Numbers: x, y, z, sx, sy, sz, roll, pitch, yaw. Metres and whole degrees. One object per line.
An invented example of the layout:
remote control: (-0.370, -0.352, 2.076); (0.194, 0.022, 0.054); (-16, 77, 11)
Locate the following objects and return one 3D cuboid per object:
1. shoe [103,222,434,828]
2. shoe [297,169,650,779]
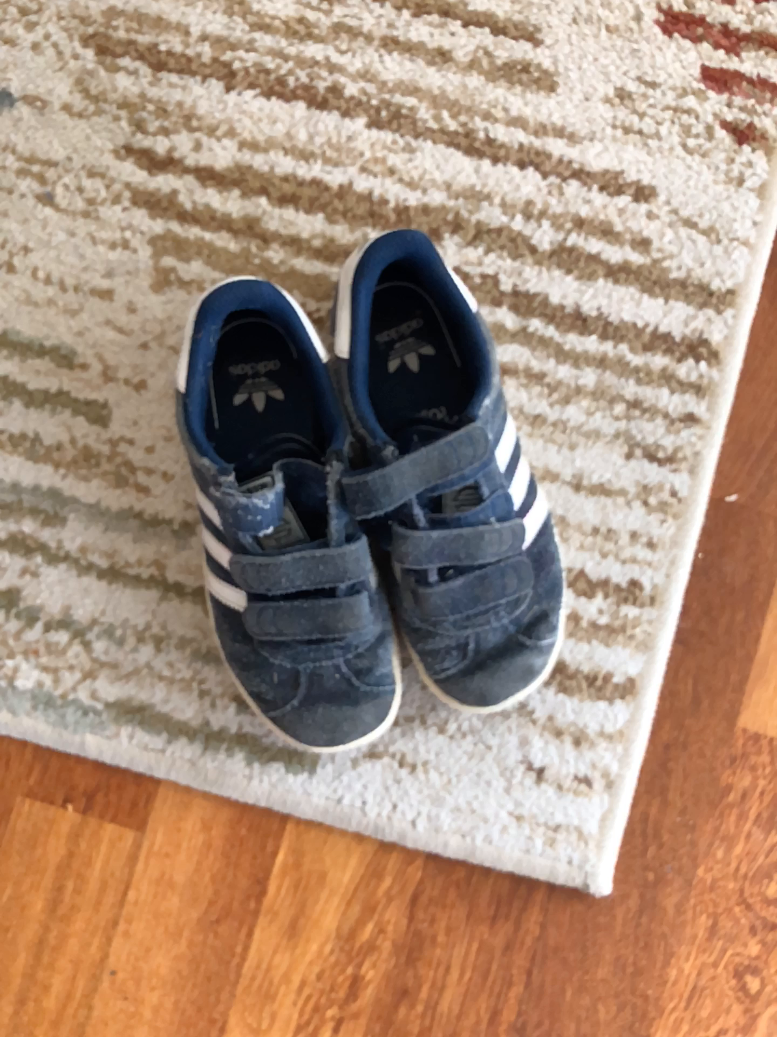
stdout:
shoe: (-0.046, 0.002, 0.354); (0.084, 0.053, 0.216); (-12, 87, -1)
shoe: (0.031, -0.018, 0.355); (0.086, 0.052, 0.219); (-13, 87, -2)
